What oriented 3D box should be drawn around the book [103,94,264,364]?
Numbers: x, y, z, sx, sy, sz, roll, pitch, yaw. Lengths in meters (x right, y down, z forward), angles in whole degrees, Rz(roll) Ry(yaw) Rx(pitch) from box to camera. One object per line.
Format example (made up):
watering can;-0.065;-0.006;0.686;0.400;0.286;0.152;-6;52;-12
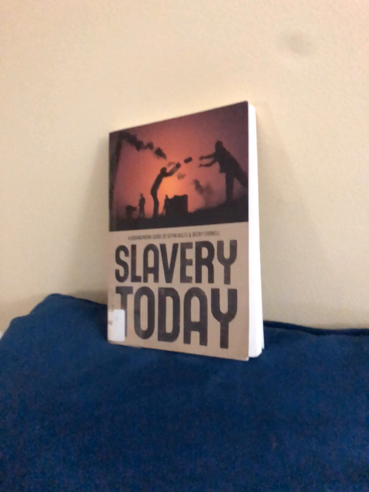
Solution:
book;-0.004;-0.011;0.323;0.127;0.182;0.028;-3;-7;34
